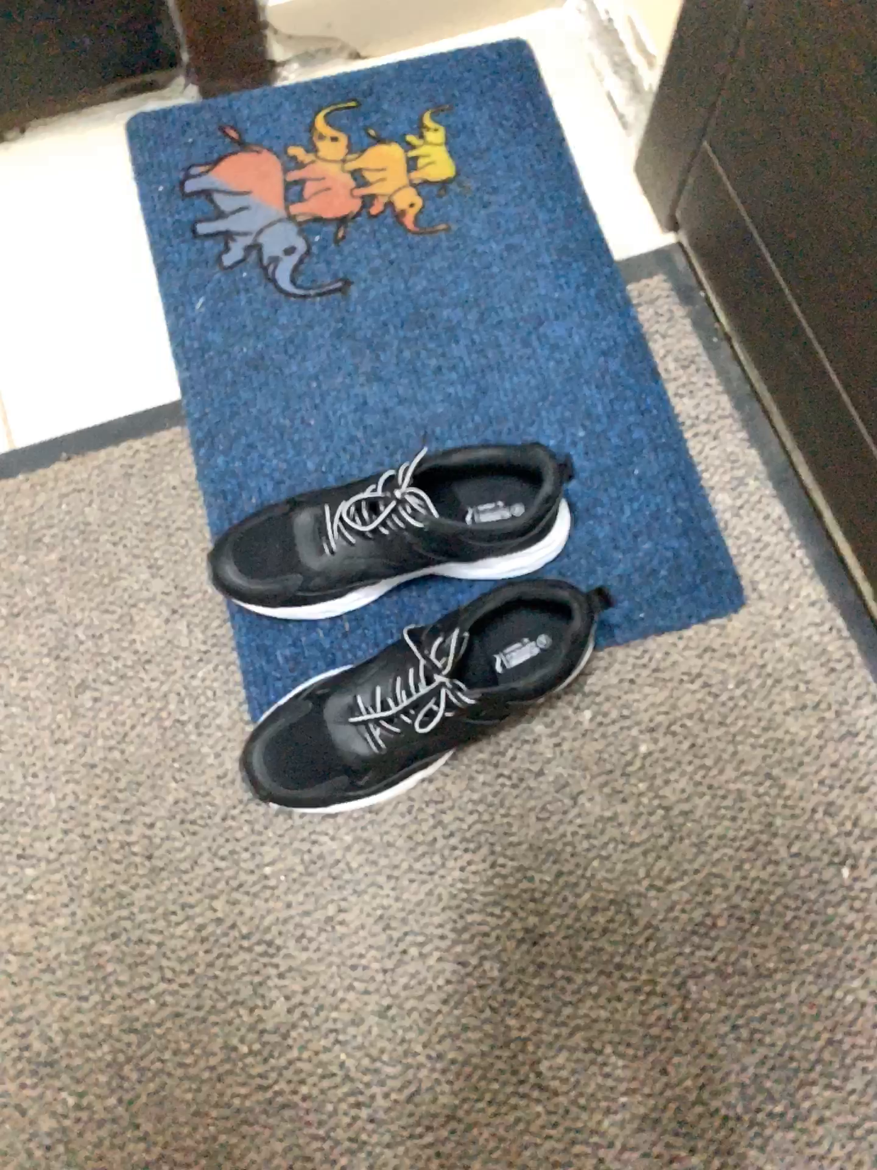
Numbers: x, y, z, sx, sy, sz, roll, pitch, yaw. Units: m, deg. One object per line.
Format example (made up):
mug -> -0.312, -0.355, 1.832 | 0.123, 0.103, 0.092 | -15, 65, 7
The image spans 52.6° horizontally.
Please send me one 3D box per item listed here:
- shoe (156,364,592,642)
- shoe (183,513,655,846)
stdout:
shoe -> -0.043, -0.053, 0.611 | 0.260, 0.100, 0.110 | -12, 72, -5
shoe -> -0.012, 0.064, 0.578 | 0.260, 0.100, 0.110 | -21, 73, -8
